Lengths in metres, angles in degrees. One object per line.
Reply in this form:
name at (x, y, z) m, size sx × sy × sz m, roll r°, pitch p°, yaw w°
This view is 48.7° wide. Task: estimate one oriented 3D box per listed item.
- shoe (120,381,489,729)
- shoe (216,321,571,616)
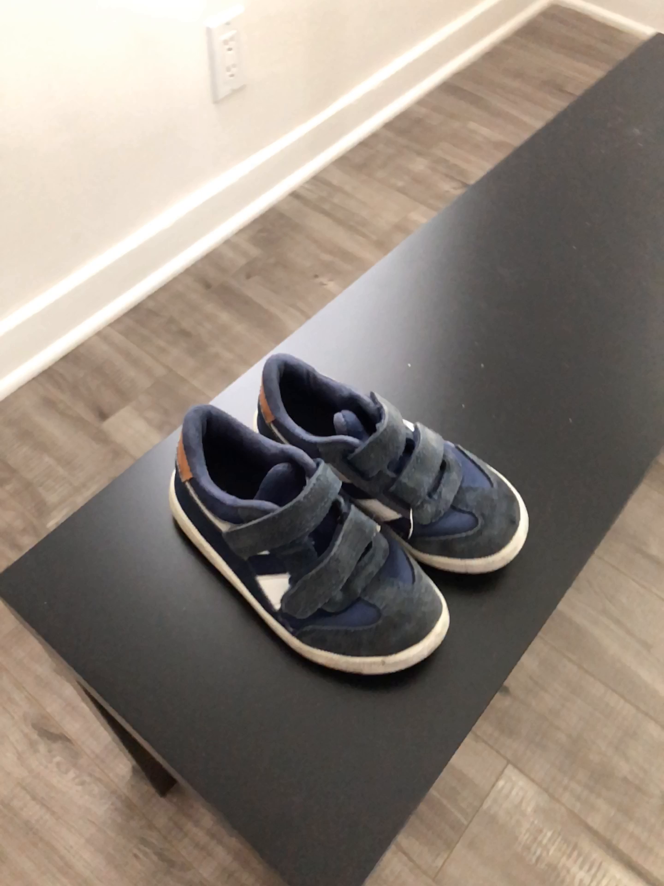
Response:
shoe at (-0.019, 0.058, 0.414) m, size 0.185 × 0.068 × 0.082 m, roll 35°, pitch 60°, yaw 20°
shoe at (0.034, 0.012, 0.449) m, size 0.185 × 0.068 × 0.088 m, roll 26°, pitch 58°, yaw 15°
